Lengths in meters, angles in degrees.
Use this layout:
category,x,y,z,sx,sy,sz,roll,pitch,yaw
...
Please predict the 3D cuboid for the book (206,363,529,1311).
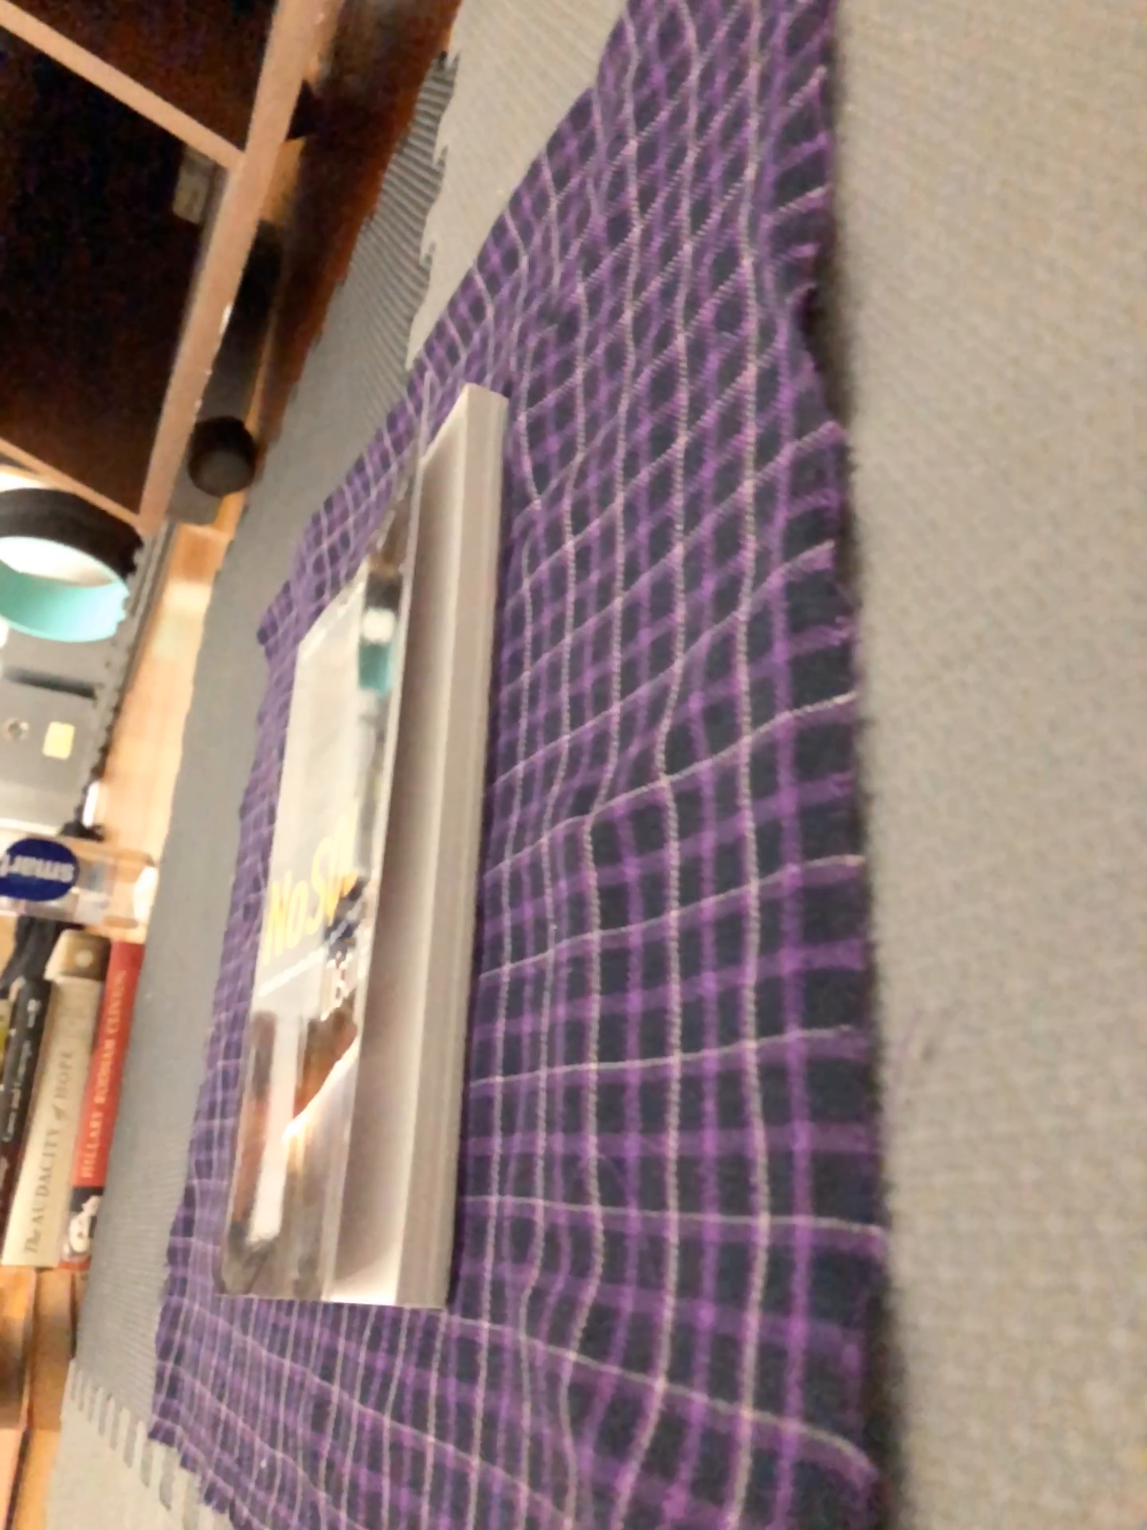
category,x,y,z,sx,sy,sz,roll,pitch,yaw
book,-0.068,0.033,0.399,0.191,0.020,0.250,141,137,-57
